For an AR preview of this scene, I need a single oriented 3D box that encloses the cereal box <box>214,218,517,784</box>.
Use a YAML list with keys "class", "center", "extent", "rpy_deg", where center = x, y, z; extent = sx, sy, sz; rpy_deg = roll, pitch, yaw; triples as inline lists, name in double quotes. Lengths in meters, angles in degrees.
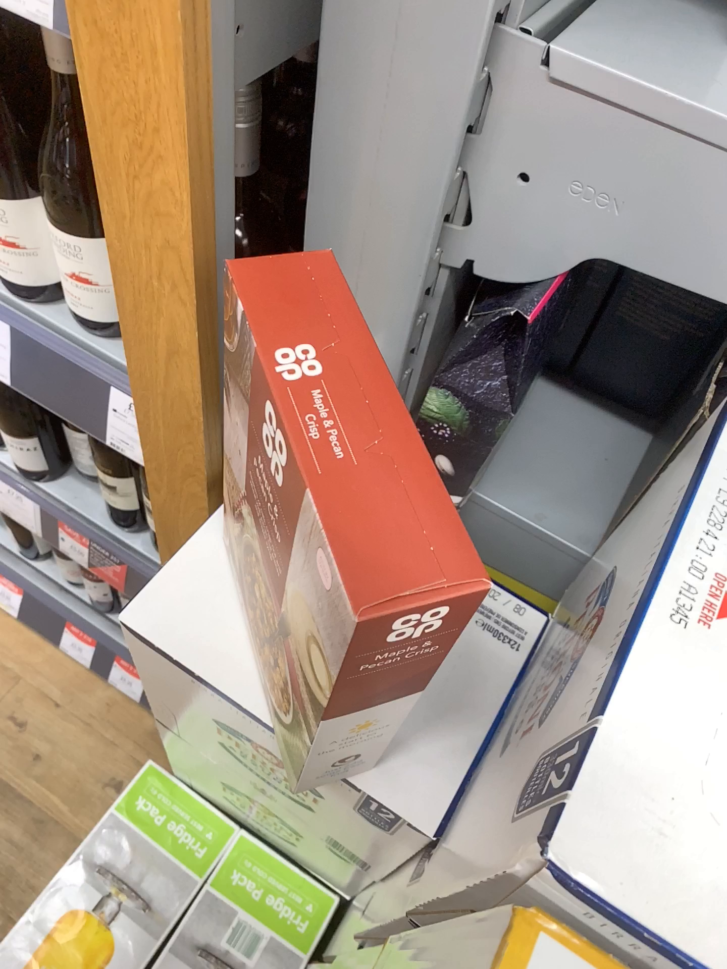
- class: "cereal box"
  center: [-0.026, 0.026, 0.389]
  extent: [0.060, 0.248, 0.181]
  rpy_deg: [-12, 59, -18]
